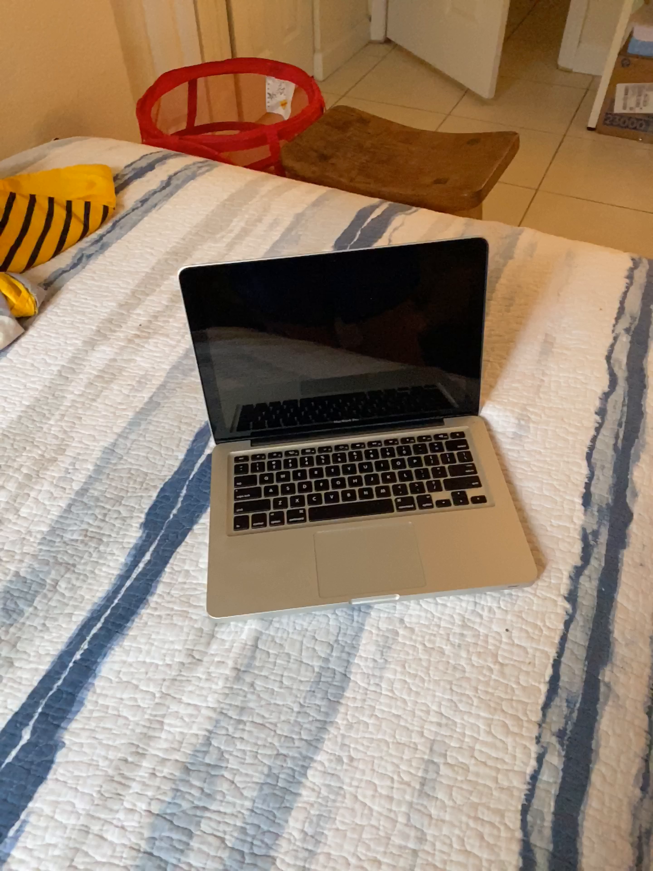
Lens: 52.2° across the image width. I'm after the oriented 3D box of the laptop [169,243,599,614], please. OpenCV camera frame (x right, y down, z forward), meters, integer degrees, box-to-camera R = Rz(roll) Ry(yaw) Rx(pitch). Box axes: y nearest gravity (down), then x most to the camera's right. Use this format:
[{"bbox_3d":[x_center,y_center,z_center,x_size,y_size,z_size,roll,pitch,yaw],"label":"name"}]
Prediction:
[{"bbox_3d":[0.031,-0.015,0.659,0.318,0.199,0.279,-6,47,-2],"label":"laptop"}]
